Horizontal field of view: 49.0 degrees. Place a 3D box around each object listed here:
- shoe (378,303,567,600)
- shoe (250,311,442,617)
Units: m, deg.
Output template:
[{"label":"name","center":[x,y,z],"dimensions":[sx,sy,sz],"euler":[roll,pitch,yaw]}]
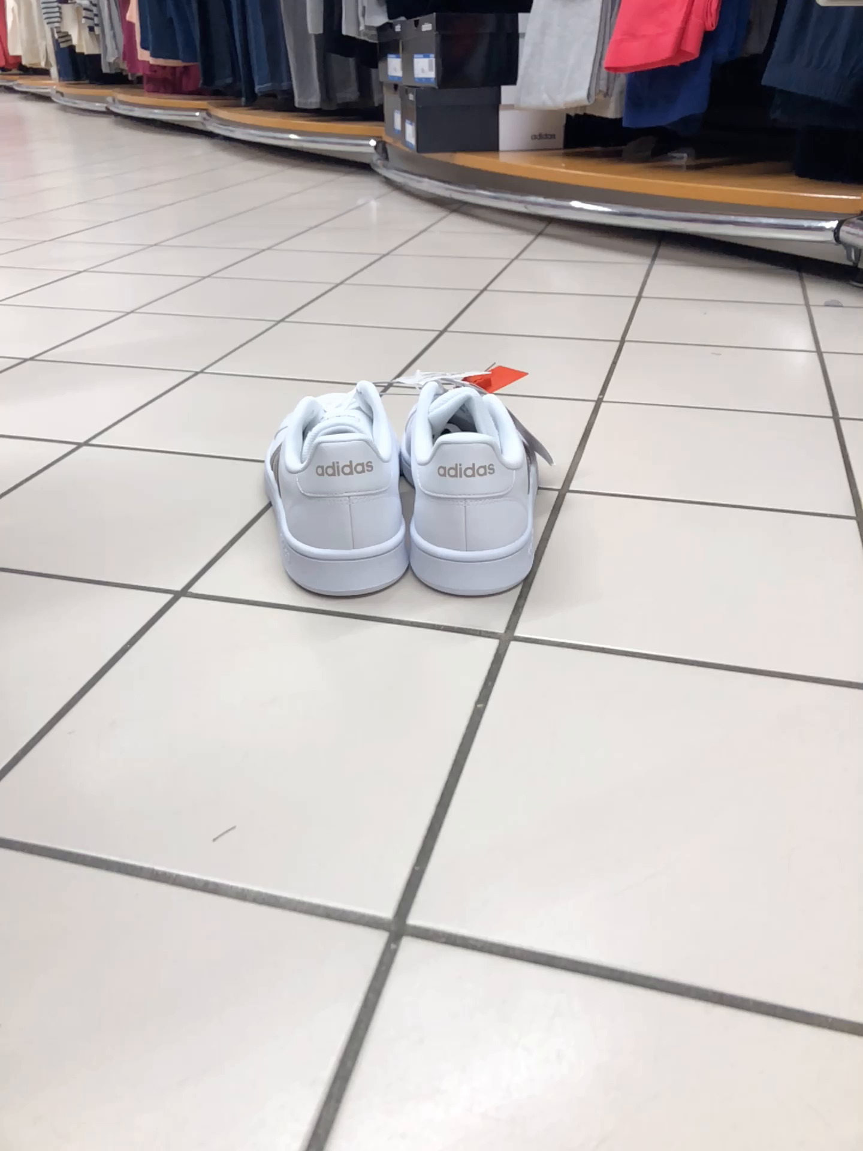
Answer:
[{"label":"shoe","center":[0.021,-0.100,0.645],"dimensions":[0.100,0.099,0.282],"euler":[-1,29,0]},{"label":"shoe","center":[-0.065,-0.093,0.644],"dimensions":[0.100,0.099,0.281],"euler":[-5,30,-7]}]
